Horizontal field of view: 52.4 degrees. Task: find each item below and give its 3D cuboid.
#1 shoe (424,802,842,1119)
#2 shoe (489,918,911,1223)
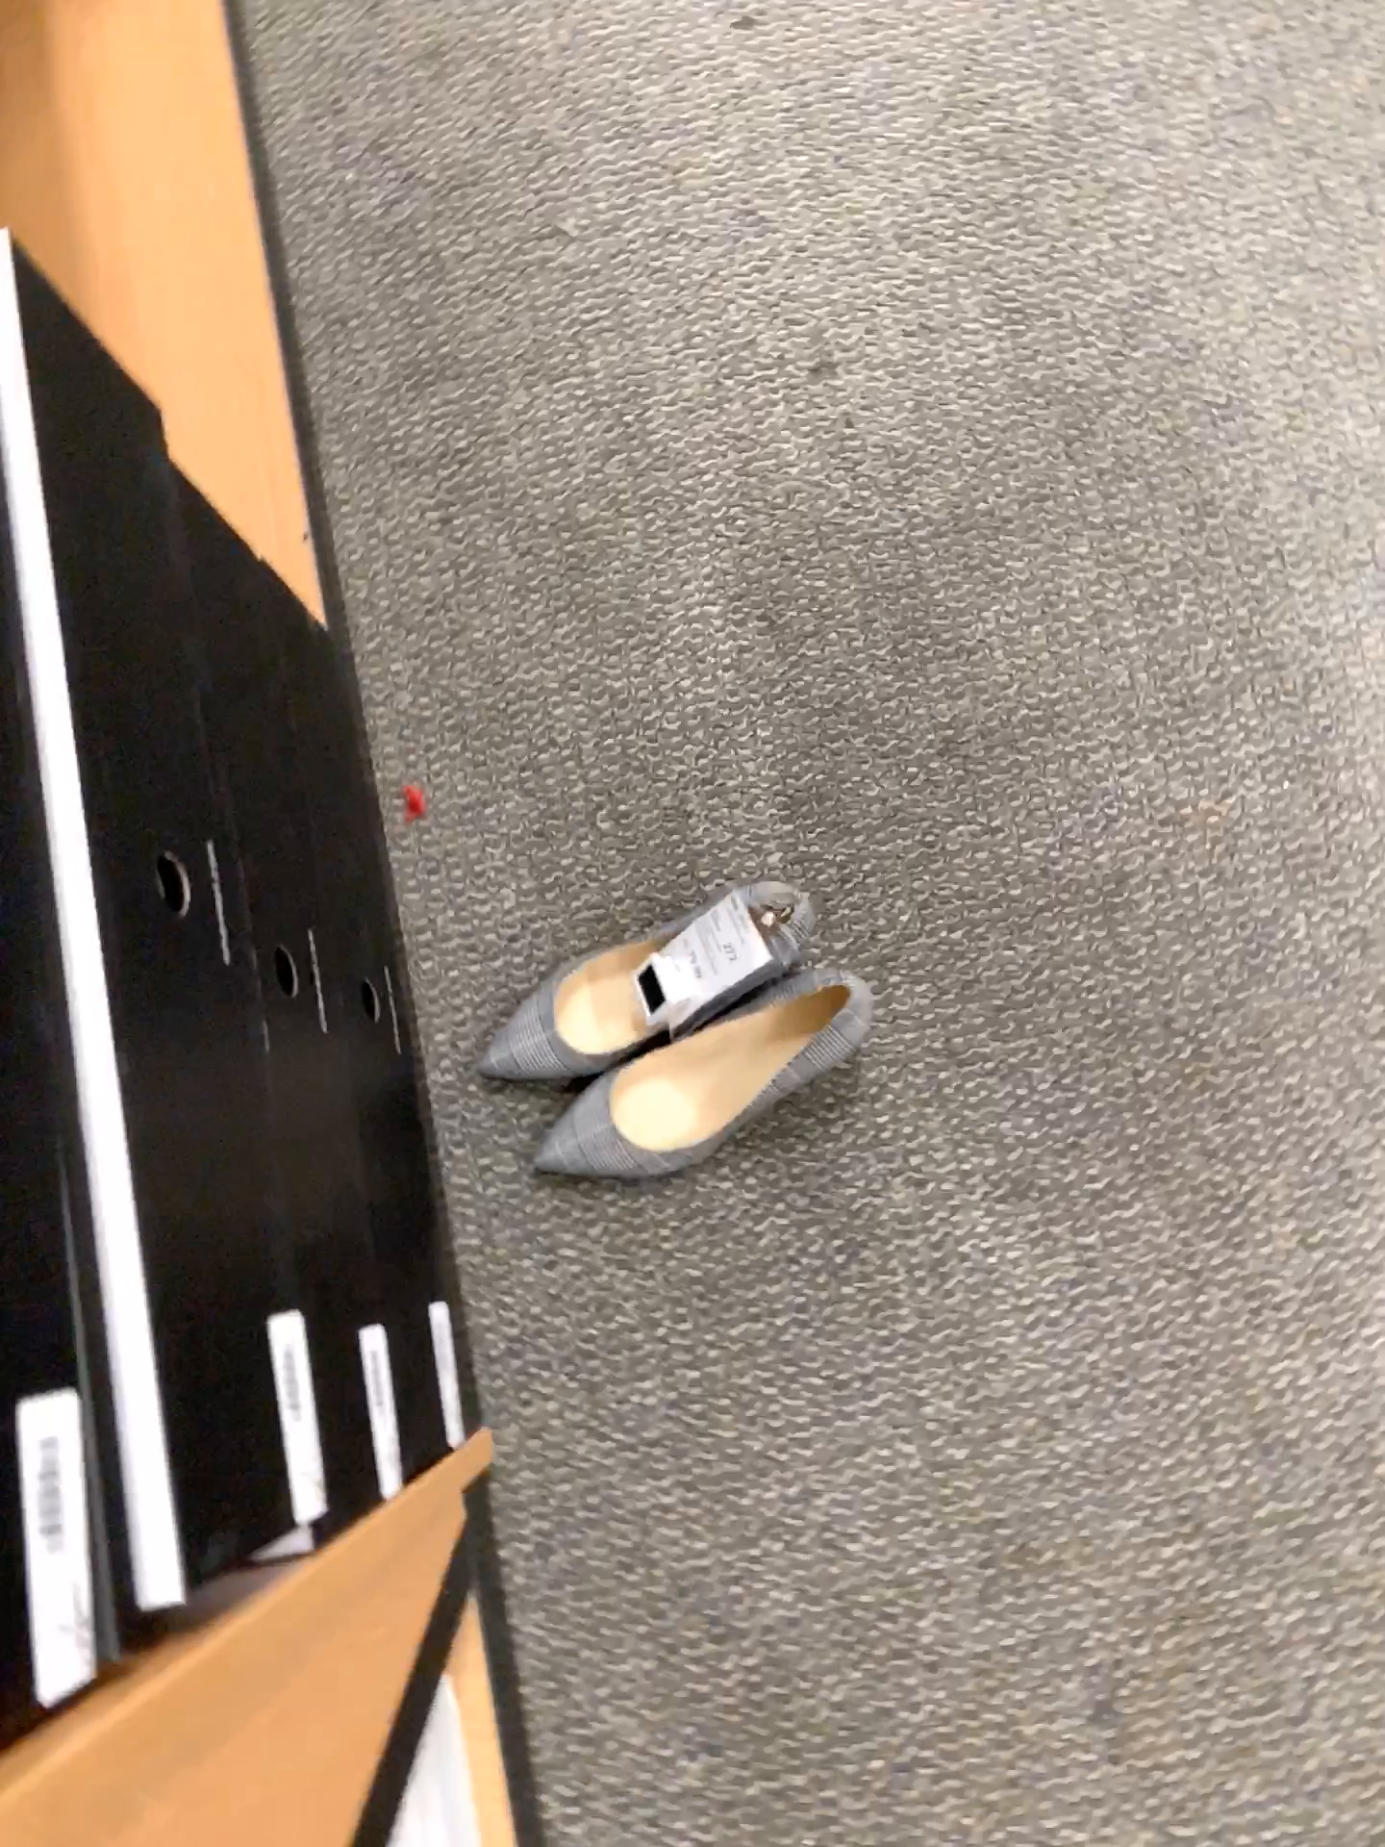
[{"bbox_3d":[-0.032,0.031,0.902,0.230,0.150,0.090,-25,78,-2],"label":"shoe"},{"bbox_3d":[0.008,0.100,0.894,0.230,0.150,0.090,-25,78,-2],"label":"shoe"}]
